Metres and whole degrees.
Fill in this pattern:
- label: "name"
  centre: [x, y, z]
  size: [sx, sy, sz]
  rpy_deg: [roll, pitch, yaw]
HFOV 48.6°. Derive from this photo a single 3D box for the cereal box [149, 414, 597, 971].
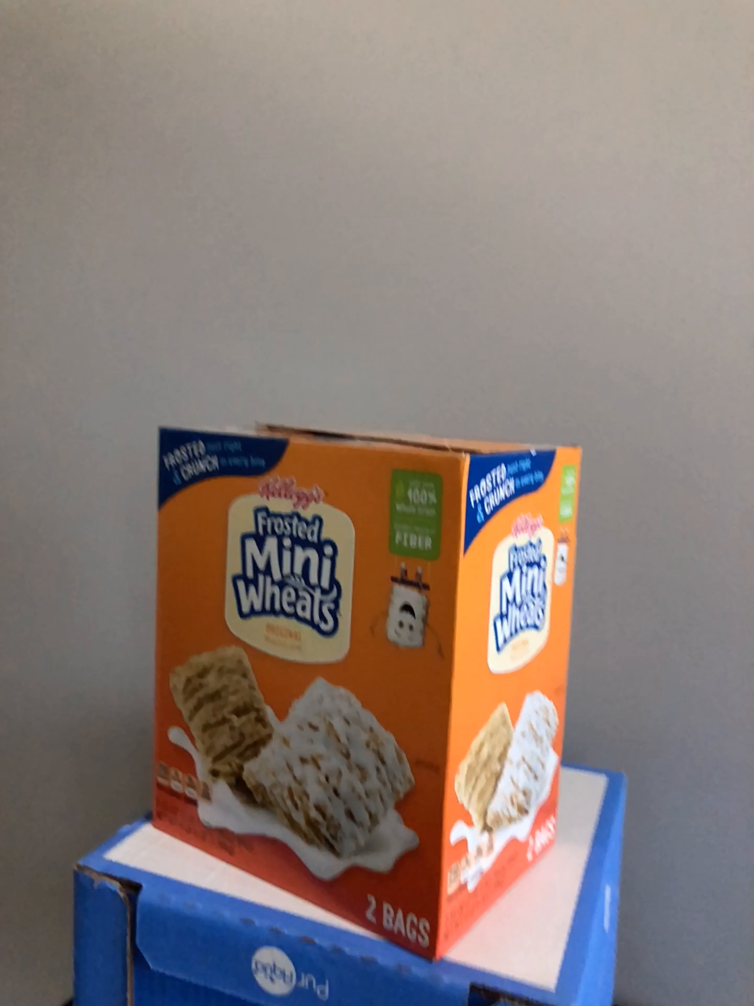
- label: "cereal box"
  centre: [-0.009, 0.090, 0.572]
  size: [0.250, 0.290, 0.160]
  rpy_deg: [7, 8, 35]
